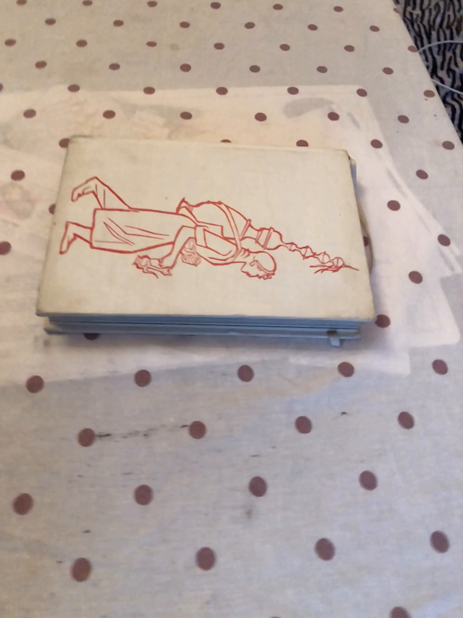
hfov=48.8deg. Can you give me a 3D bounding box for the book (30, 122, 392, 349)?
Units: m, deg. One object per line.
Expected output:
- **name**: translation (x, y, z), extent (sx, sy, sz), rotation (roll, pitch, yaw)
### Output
- **book**: translation (-0.014, -0.061, 0.403), extent (0.240, 0.050, 0.175), rotation (1, 60, -5)
